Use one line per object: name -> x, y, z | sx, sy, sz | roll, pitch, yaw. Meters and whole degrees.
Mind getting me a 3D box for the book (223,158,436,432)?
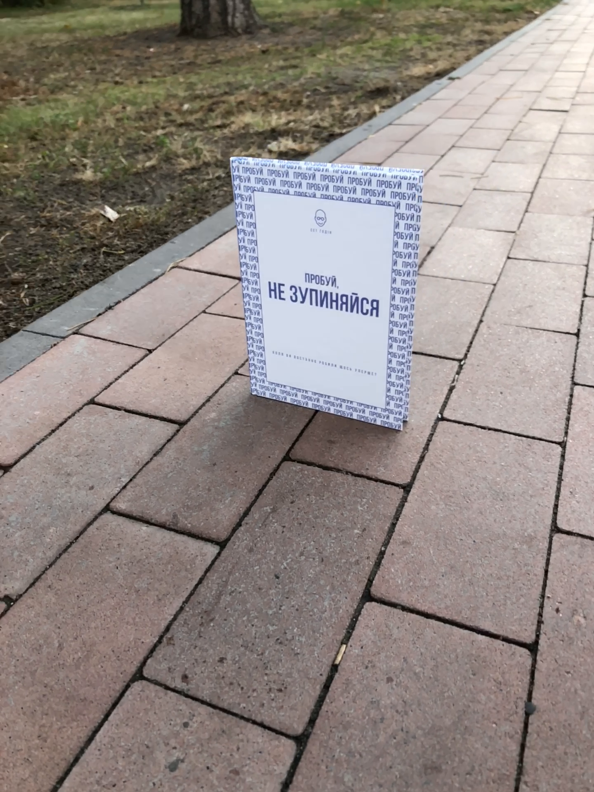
book -> 0.023, -0.075, 0.505 | 0.151, 0.196, 0.023 | 12, 34, 22
